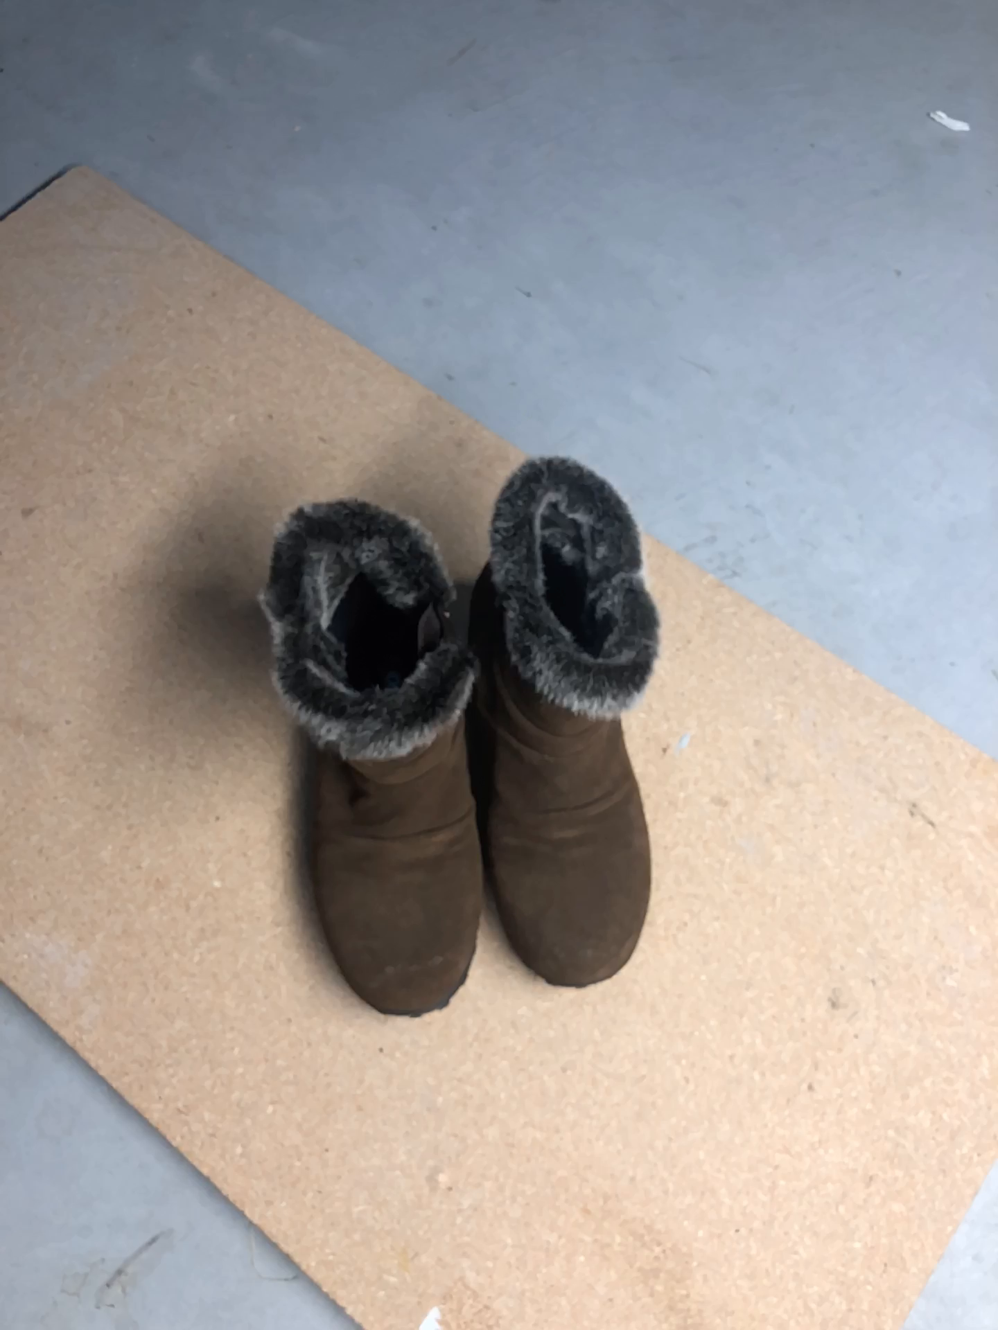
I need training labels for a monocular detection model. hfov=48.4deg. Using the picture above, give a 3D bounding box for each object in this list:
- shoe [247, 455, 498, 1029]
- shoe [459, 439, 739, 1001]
[{"bbox_3d":[-0.067,0.055,0.620,0.100,0.220,0.250,-6,66,-4],"label":"shoe"},{"bbox_3d":[0.042,0.040,0.641,0.100,0.200,0.260,-6,66,-4],"label":"shoe"}]
